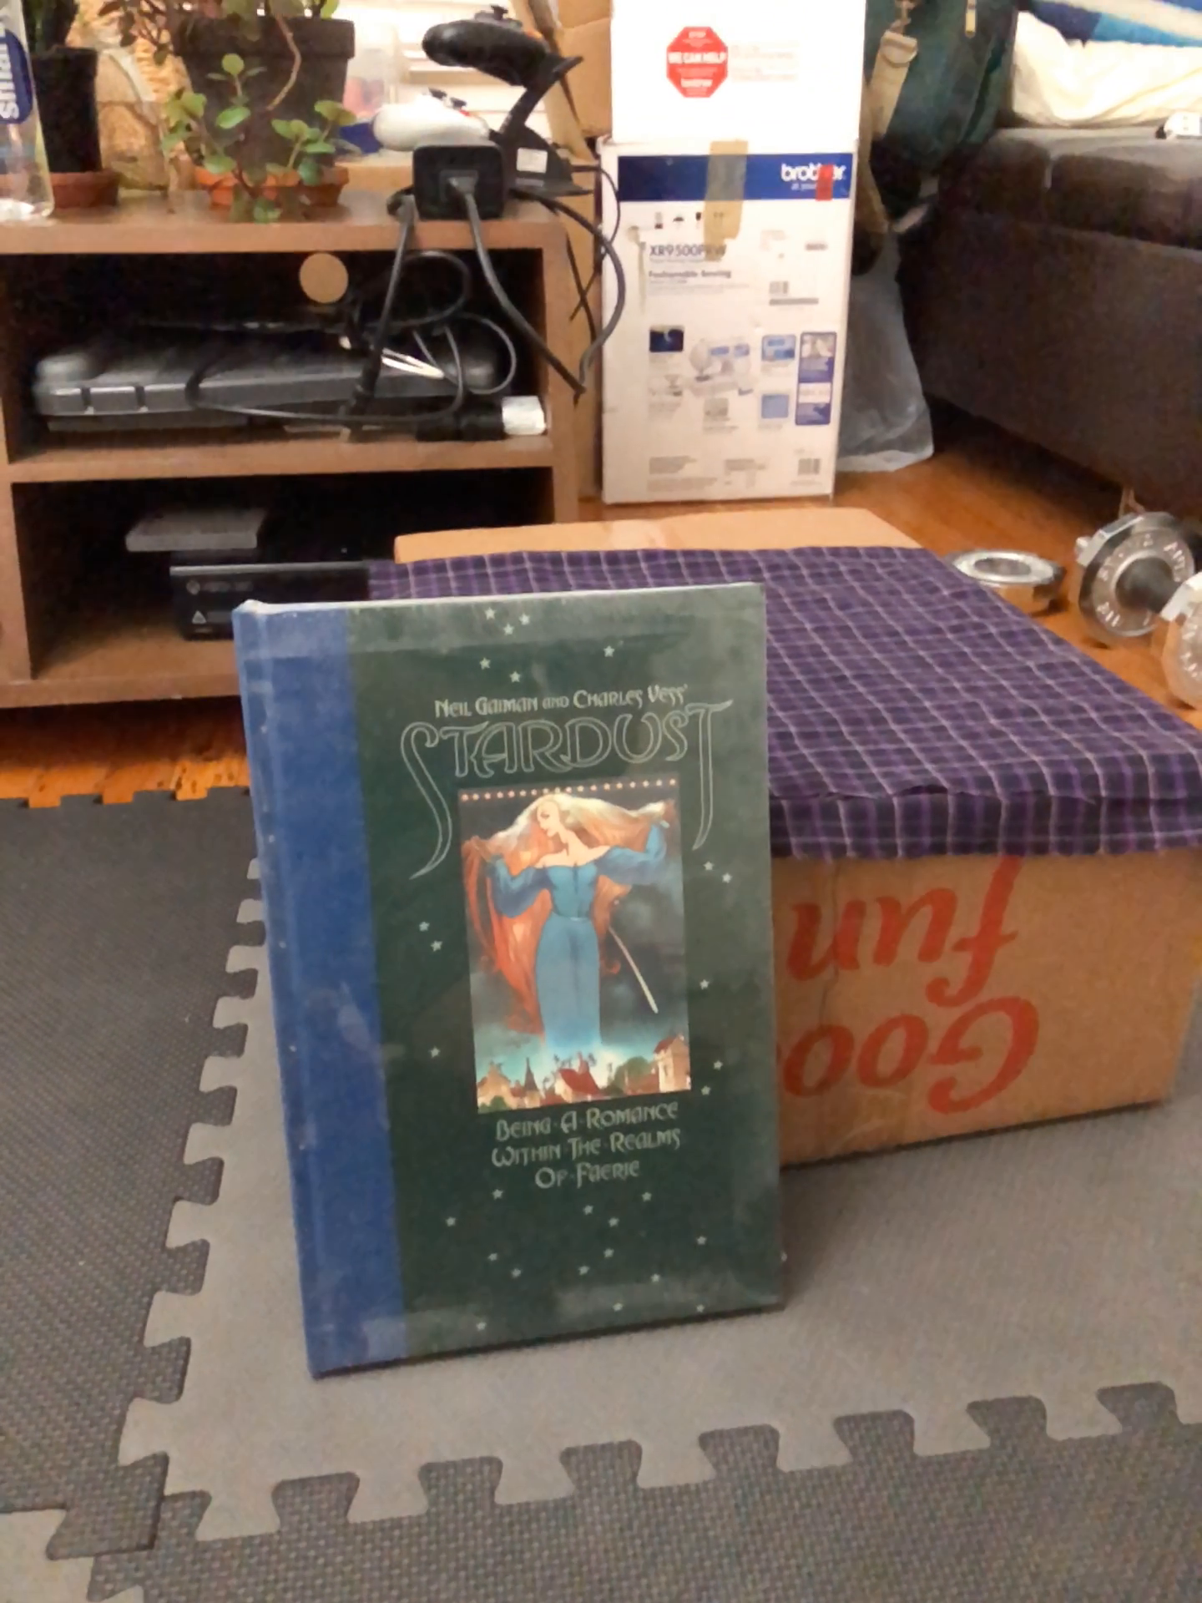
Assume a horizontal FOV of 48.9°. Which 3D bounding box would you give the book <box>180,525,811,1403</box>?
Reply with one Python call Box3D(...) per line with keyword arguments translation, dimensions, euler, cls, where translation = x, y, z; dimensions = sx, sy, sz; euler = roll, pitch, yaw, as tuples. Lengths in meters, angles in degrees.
Box3D(translation=(-0.032, 0.063, 0.533), dimensions=(0.220, 0.329, 0.050), euler=(-5, 12, -10), cls="book")
